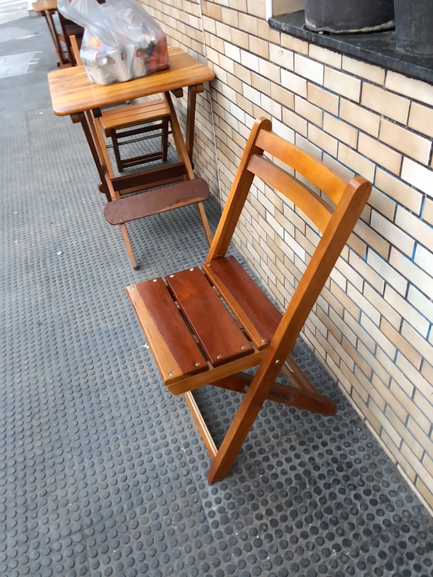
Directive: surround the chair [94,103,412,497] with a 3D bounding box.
[{"bbox_3d":[0.072,0.033,1.205,0.490,0.764,0.473,-19,41,-14],"label":"chair"}]
